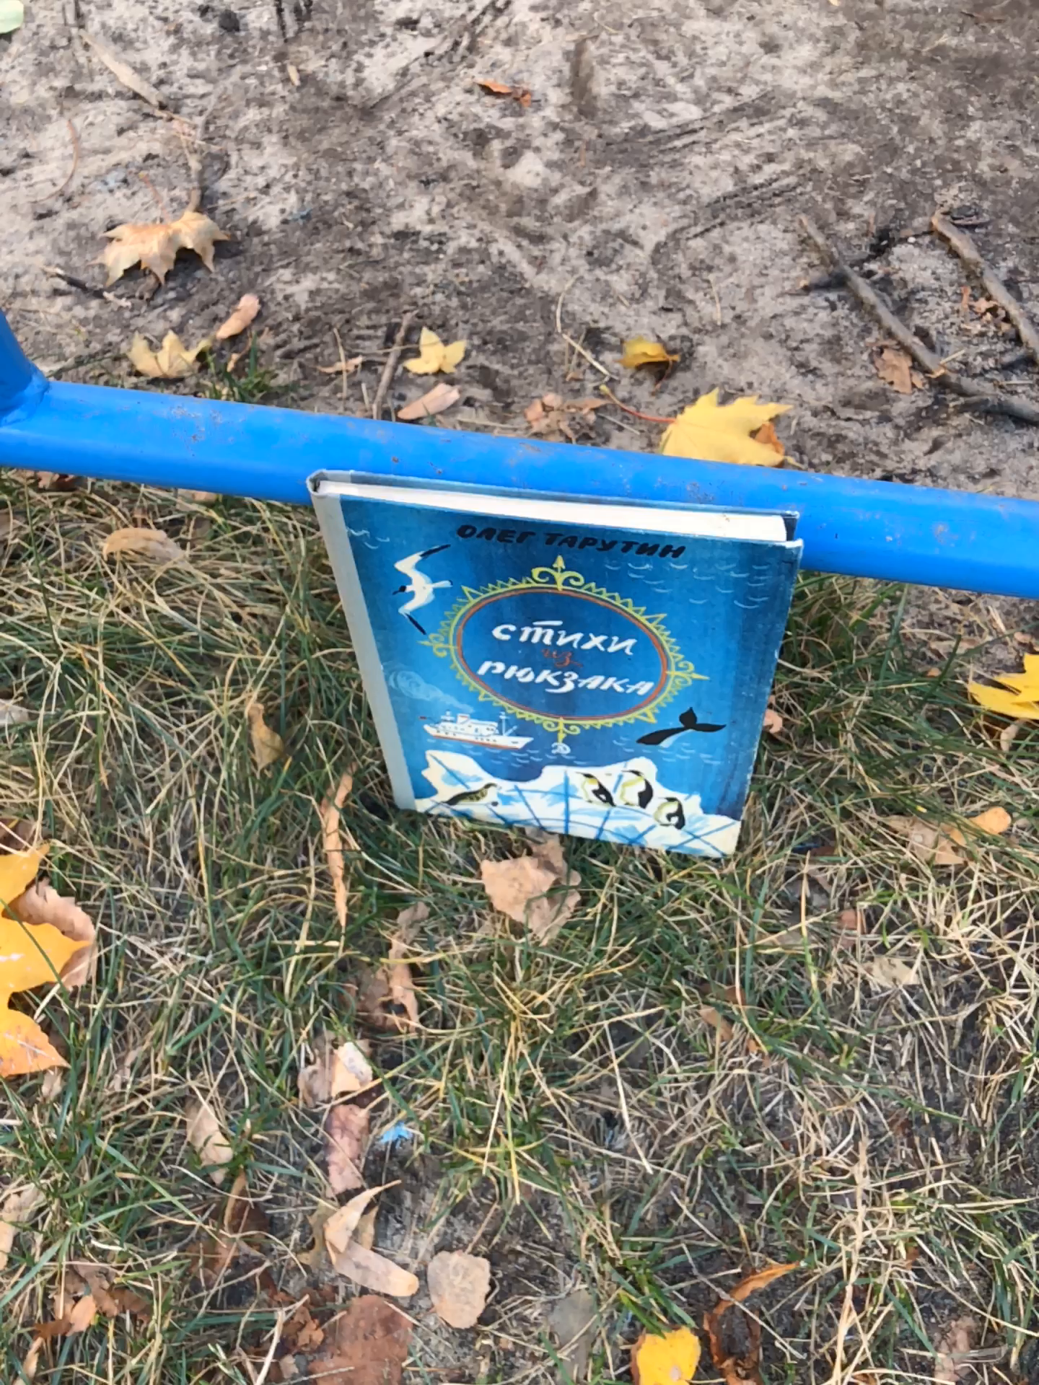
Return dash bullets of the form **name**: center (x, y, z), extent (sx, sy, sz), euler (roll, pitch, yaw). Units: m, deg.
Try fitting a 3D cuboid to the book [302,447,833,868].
- **book**: center (0.015, -0.002, 0.473), extent (0.179, 0.210, 0.023), euler (7, 52, 4)
